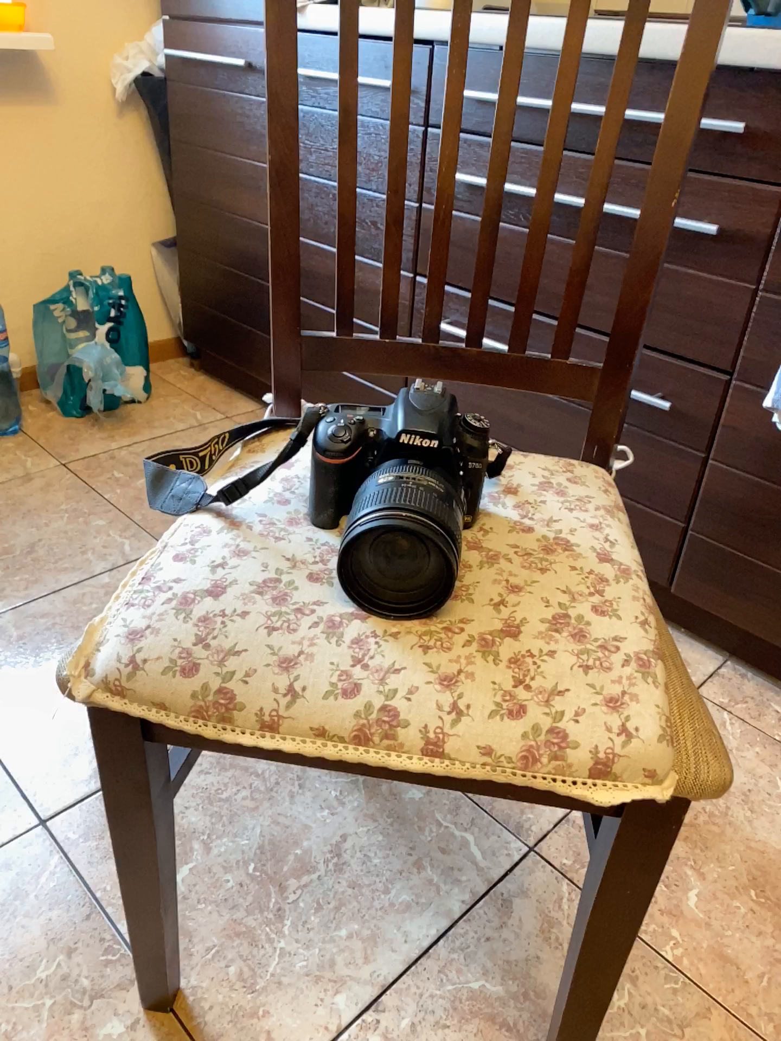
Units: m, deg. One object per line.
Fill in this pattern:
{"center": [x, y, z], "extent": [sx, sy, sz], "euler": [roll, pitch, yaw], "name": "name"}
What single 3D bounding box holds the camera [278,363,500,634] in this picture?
{"center": [0.003, -0.024, 0.579], "extent": [0.135, 0.119, 0.165], "euler": [7, 30, 3], "name": "camera"}
